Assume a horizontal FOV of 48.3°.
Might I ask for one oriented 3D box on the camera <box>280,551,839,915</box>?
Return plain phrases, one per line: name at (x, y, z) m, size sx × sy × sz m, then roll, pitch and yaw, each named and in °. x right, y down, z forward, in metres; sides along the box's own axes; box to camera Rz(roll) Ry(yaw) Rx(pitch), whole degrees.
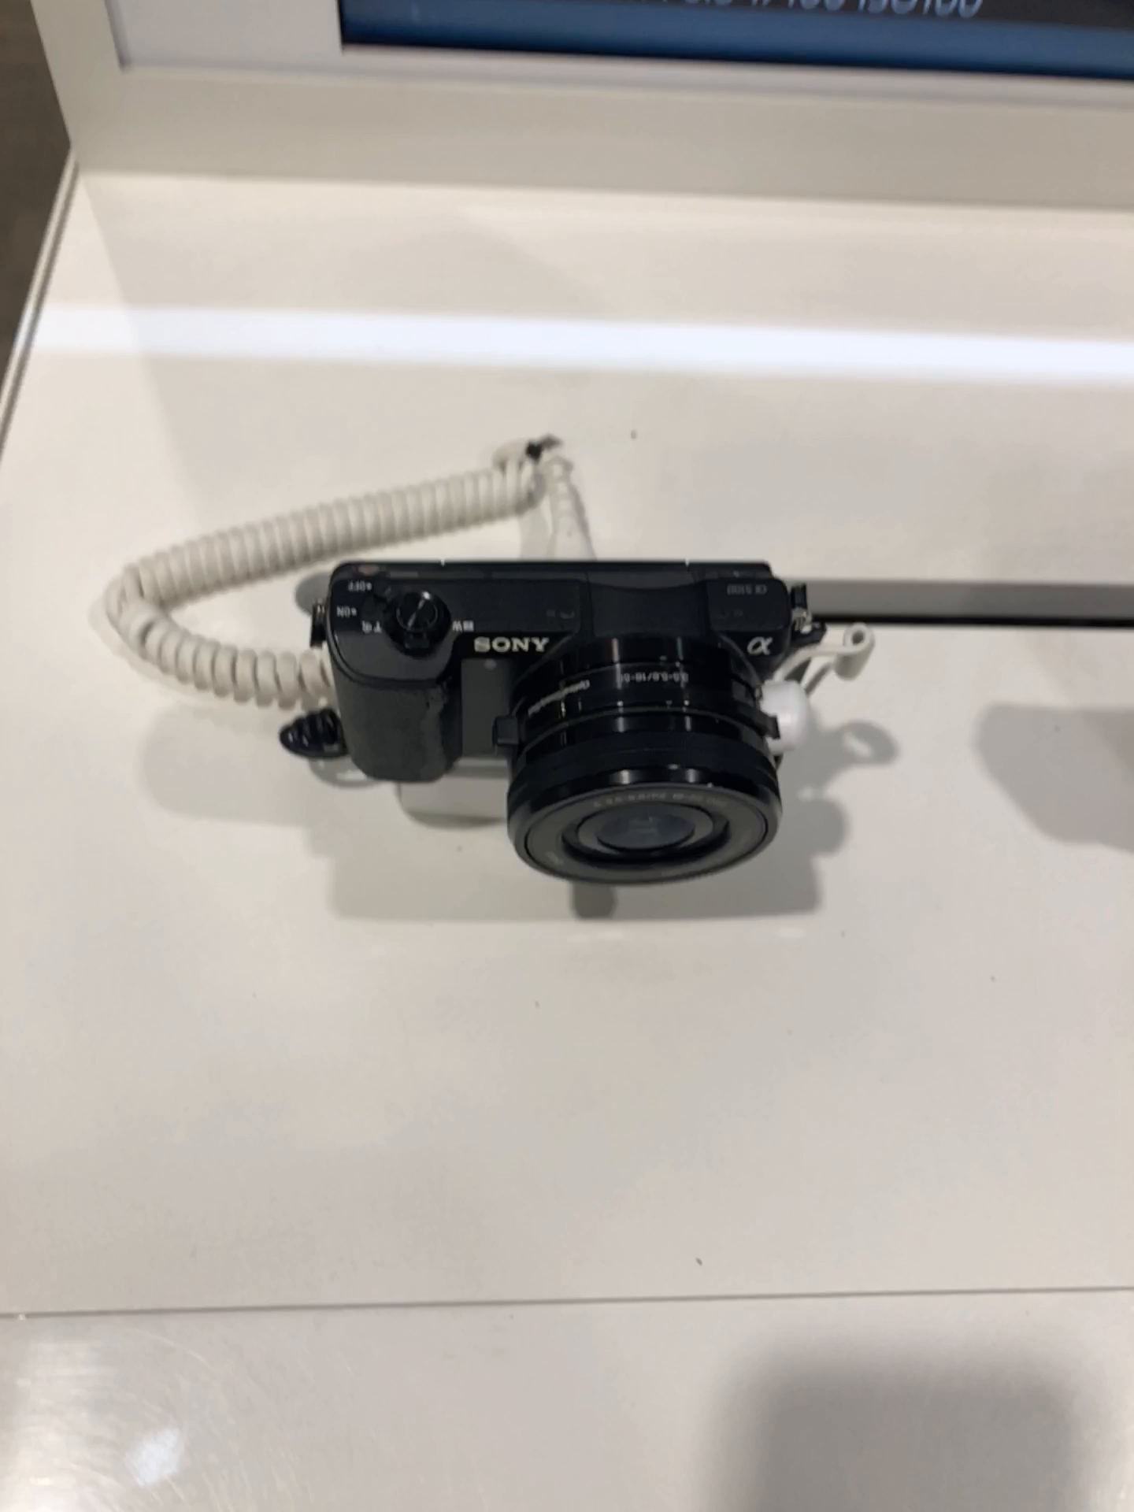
camera at (-0.003, -0.004, 0.297) m, size 0.113 × 0.060 × 0.062 m, roll 0°, pitch 59°, yaw -3°
